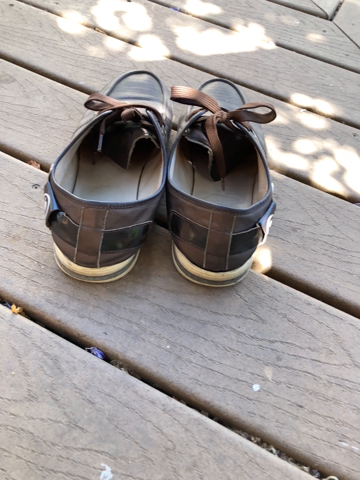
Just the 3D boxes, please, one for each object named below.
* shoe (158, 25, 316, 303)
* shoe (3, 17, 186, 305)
[{"bbox_3d":[0.049,-0.094,0.415,0.107,0.105,0.290,7,53,-3],"label":"shoe"},{"bbox_3d":[-0.065,-0.095,0.409,0.107,0.115,0.288,8,53,-3],"label":"shoe"}]
